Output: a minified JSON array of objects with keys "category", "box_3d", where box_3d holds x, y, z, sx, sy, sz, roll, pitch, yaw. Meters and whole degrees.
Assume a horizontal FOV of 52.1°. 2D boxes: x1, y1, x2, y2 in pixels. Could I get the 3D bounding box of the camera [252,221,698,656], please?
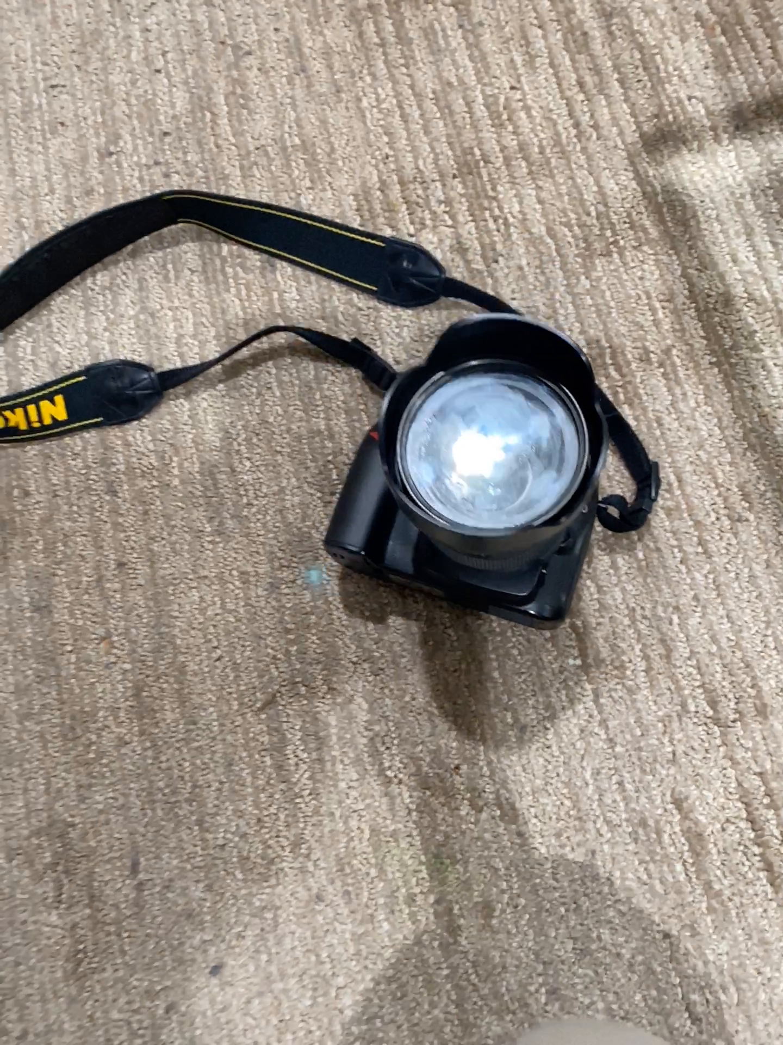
[{"category":"camera","box_3d":[0.038,-0.026,0.377,0.138,0.166,0.114,17,74,10]}]
